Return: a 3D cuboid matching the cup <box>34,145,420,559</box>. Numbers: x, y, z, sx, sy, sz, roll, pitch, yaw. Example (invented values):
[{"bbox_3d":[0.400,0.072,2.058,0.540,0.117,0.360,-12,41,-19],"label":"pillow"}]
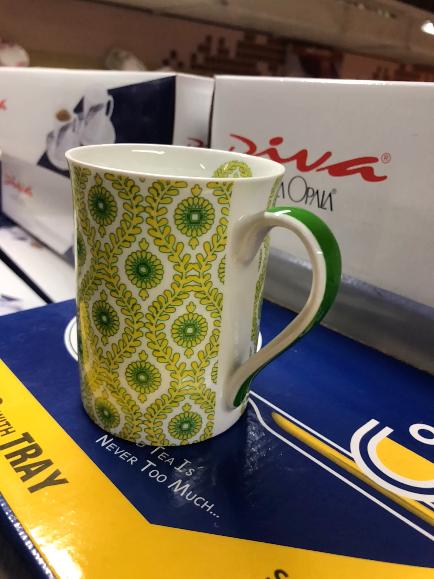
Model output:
[{"bbox_3d":[-0.006,0.004,0.166,0.070,0.090,0.100,-13,27,-38],"label":"cup"}]
